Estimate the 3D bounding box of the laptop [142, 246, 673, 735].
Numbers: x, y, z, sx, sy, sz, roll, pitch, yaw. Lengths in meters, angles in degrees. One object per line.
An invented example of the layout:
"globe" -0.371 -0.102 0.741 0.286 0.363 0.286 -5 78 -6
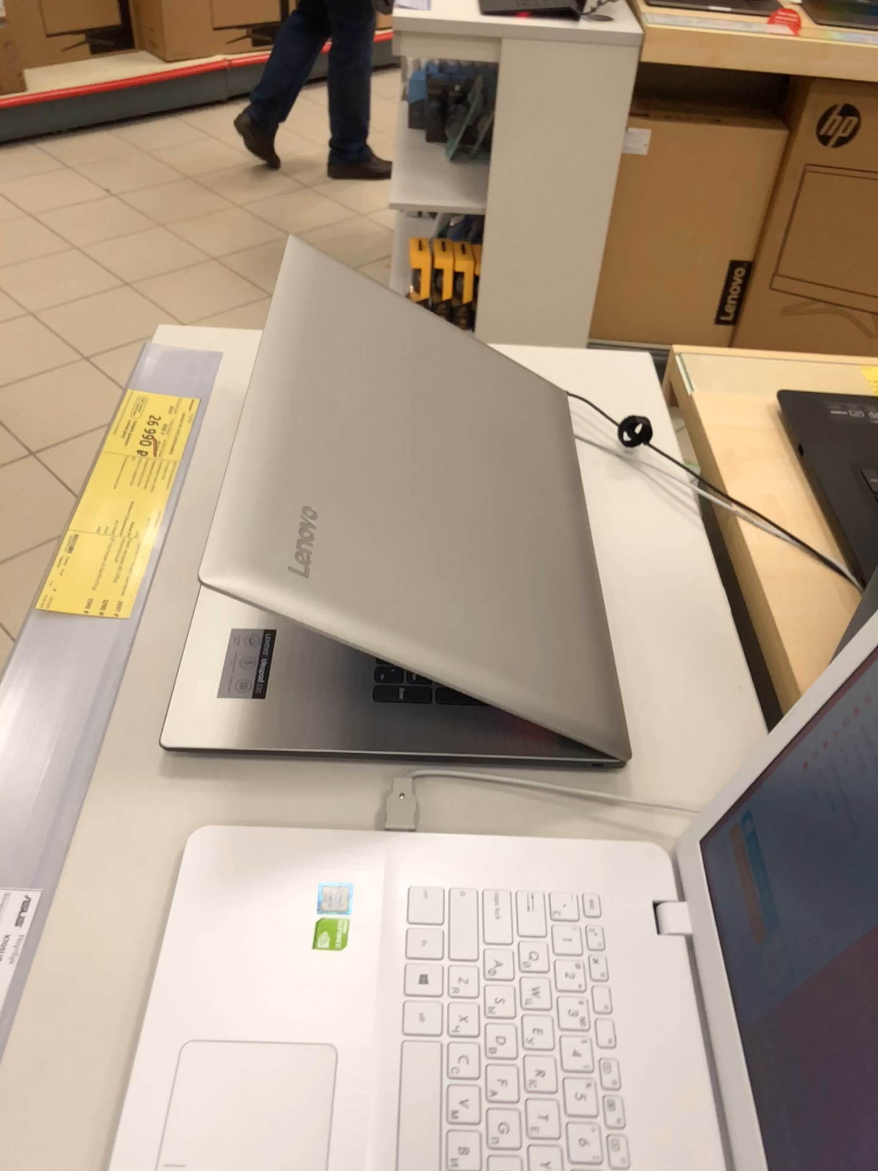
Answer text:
"laptop" -0.016 -0.094 0.694 0.276 0.129 0.400 3 42 -2
